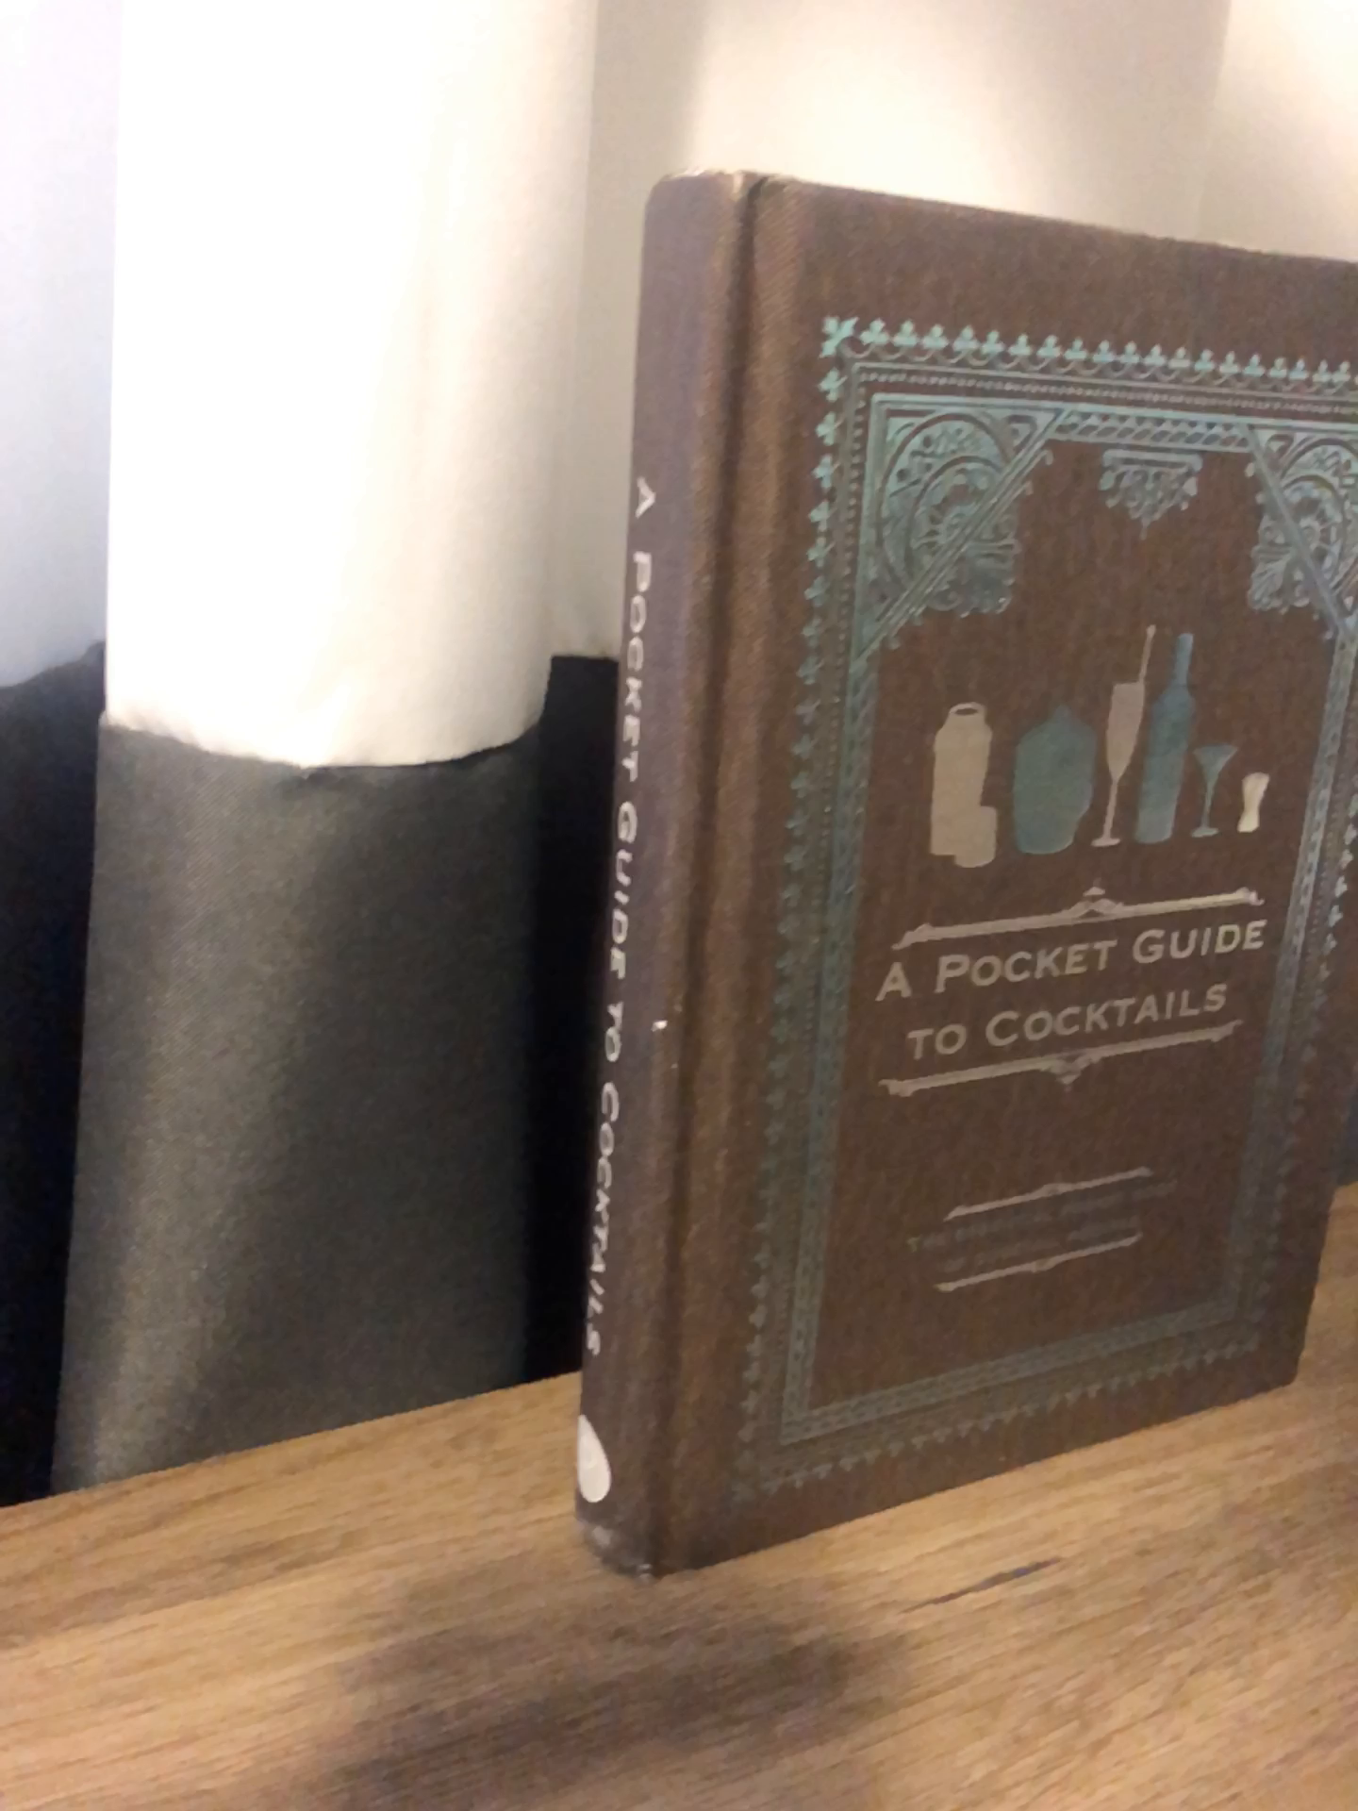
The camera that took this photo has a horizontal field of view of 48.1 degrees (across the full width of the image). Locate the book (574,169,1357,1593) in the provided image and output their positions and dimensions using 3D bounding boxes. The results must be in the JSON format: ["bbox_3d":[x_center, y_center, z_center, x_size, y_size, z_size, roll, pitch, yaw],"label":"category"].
[{"bbox_3d":[0.055,0.001,0.244,0.137,0.200,0.022,-5,20,-27],"label":"book"}]
